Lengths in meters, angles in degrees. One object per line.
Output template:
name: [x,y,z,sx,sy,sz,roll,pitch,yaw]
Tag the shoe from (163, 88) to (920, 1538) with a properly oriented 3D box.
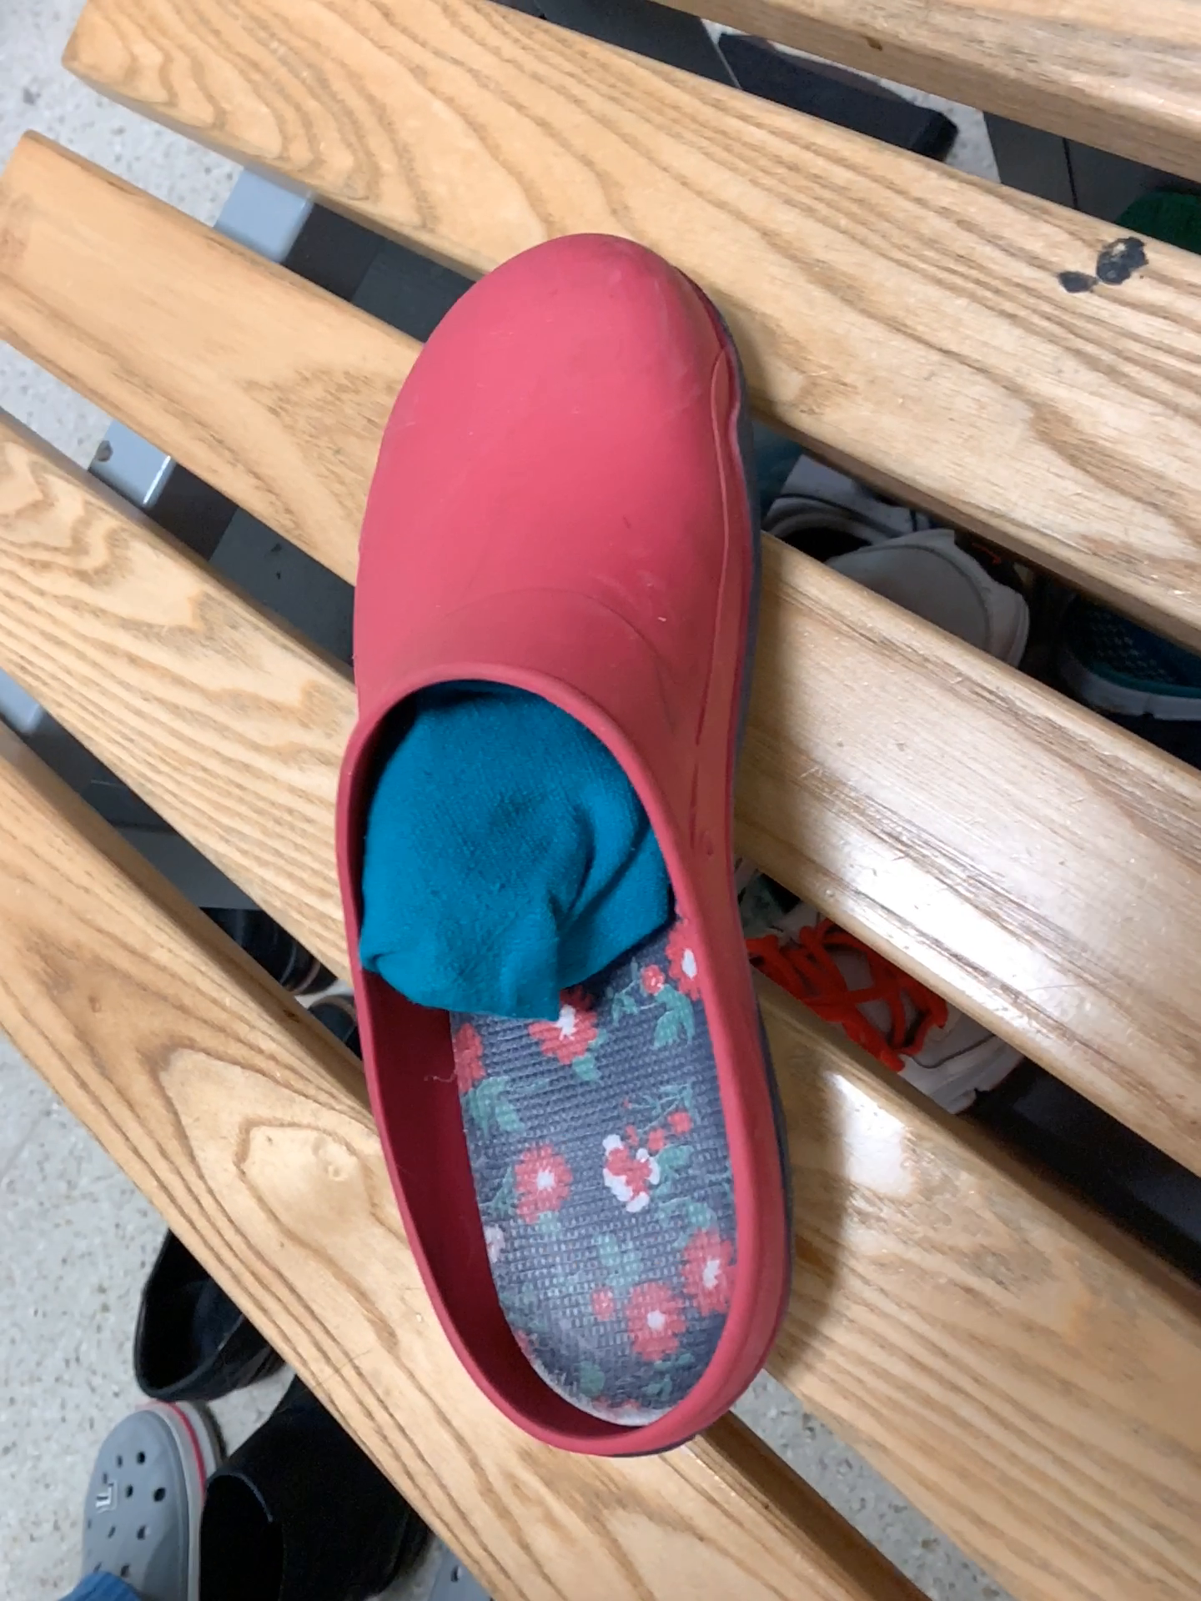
shoe: [-0.016,0.003,0.254,0.106,0.077,0.239,-12,77,24]
